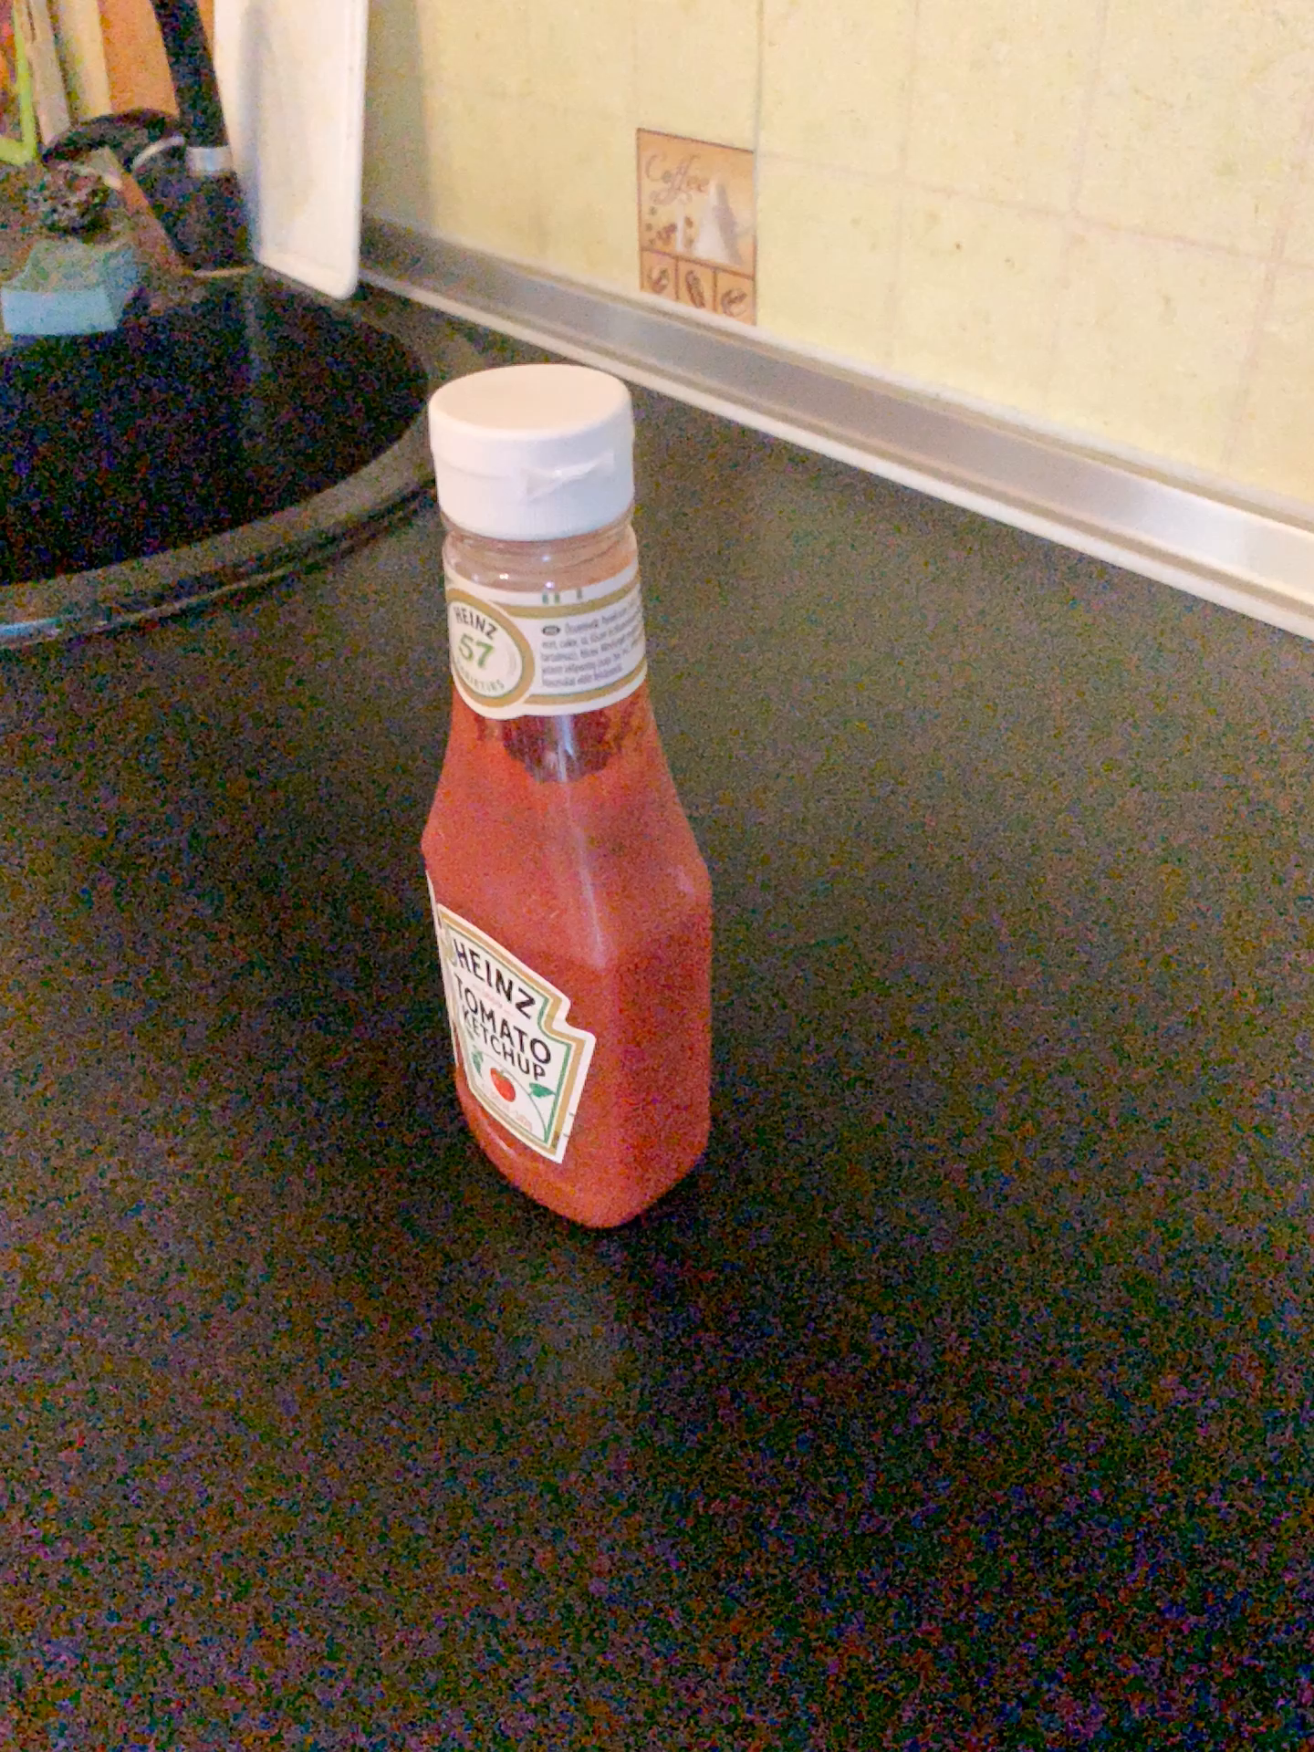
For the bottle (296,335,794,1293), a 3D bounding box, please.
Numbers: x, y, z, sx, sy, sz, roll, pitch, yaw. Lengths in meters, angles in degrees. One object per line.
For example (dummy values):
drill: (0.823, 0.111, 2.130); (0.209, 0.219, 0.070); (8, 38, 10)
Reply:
bottle: (-0.018, -0.004, 0.287); (0.050, 0.189, 0.070); (-32, 48, -32)
